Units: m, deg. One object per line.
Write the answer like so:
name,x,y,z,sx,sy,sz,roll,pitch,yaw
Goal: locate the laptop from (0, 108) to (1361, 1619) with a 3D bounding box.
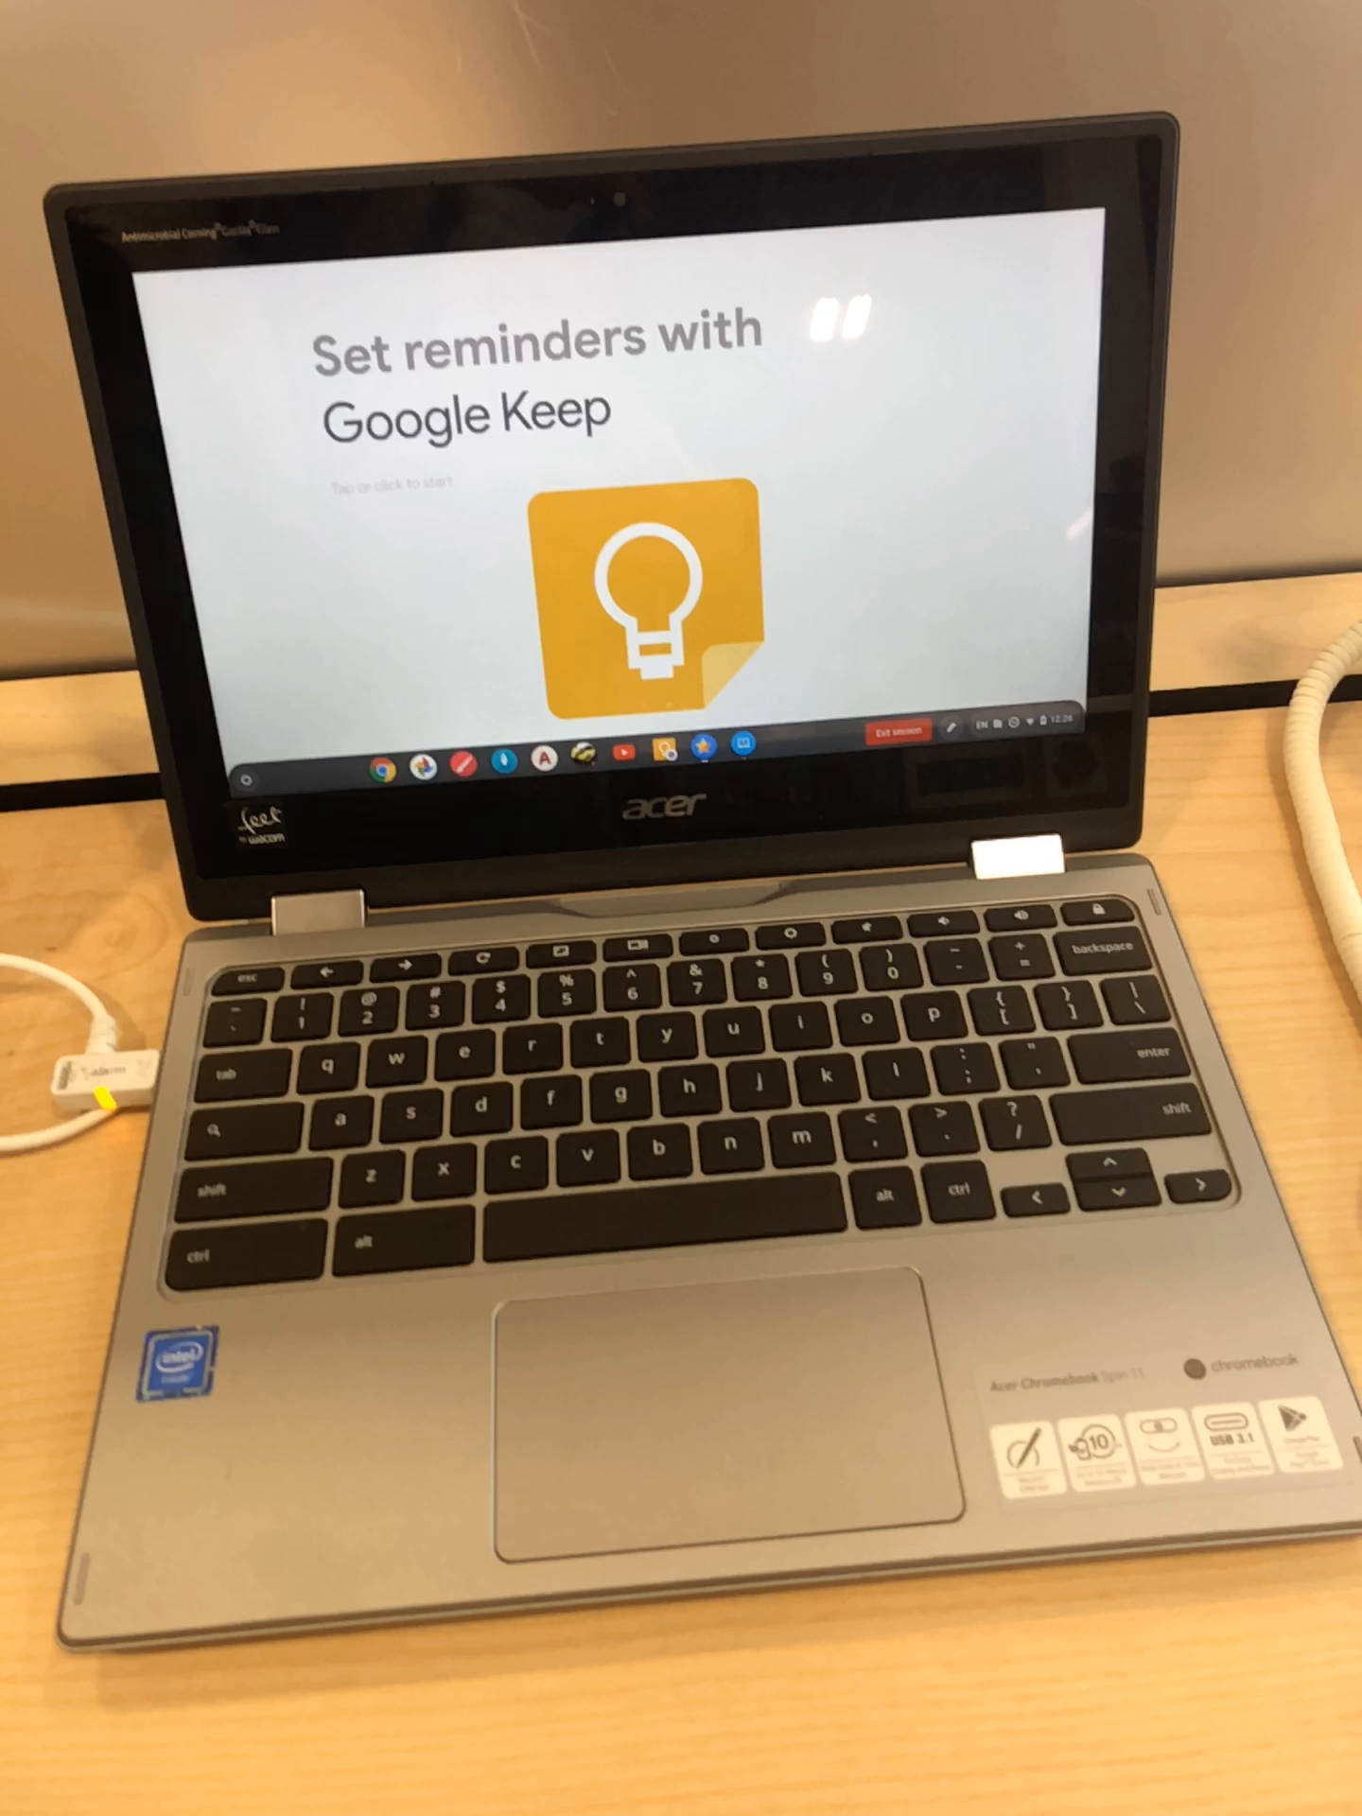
laptop,-0.001,-0.028,0.360,0.287,0.176,0.296,-5,49,-1
